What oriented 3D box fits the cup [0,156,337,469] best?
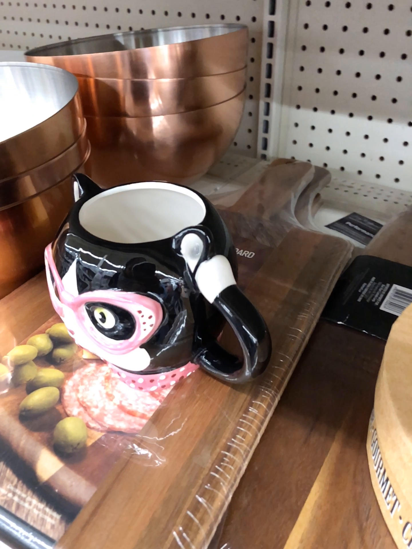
[{"bbox_3d":[-0.025,0.005,0.241,0.150,0.080,0.080,27,44,34],"label":"cup"}]
